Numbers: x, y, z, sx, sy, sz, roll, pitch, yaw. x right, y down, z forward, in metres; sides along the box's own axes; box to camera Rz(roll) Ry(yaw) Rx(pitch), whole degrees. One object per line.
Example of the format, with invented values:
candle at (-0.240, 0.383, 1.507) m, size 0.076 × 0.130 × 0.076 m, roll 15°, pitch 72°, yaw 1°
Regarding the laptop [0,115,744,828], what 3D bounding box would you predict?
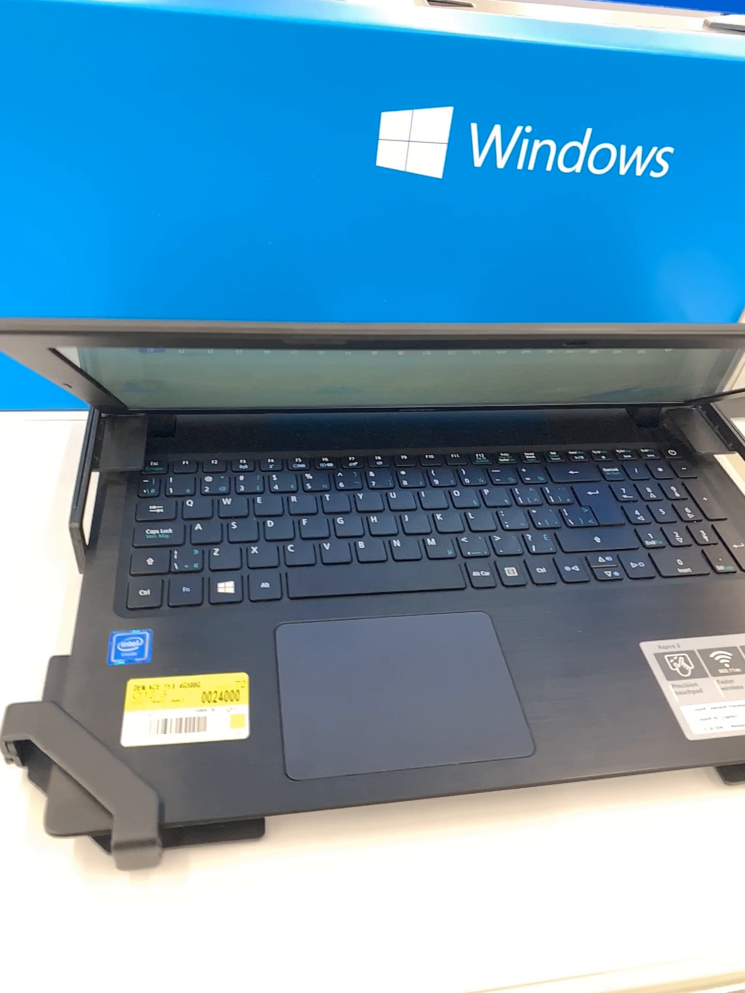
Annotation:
laptop at (0.052, -0.030, 0.319) m, size 0.344 × 0.157 × 0.234 m, roll -2°, pitch 42°, yaw -10°
